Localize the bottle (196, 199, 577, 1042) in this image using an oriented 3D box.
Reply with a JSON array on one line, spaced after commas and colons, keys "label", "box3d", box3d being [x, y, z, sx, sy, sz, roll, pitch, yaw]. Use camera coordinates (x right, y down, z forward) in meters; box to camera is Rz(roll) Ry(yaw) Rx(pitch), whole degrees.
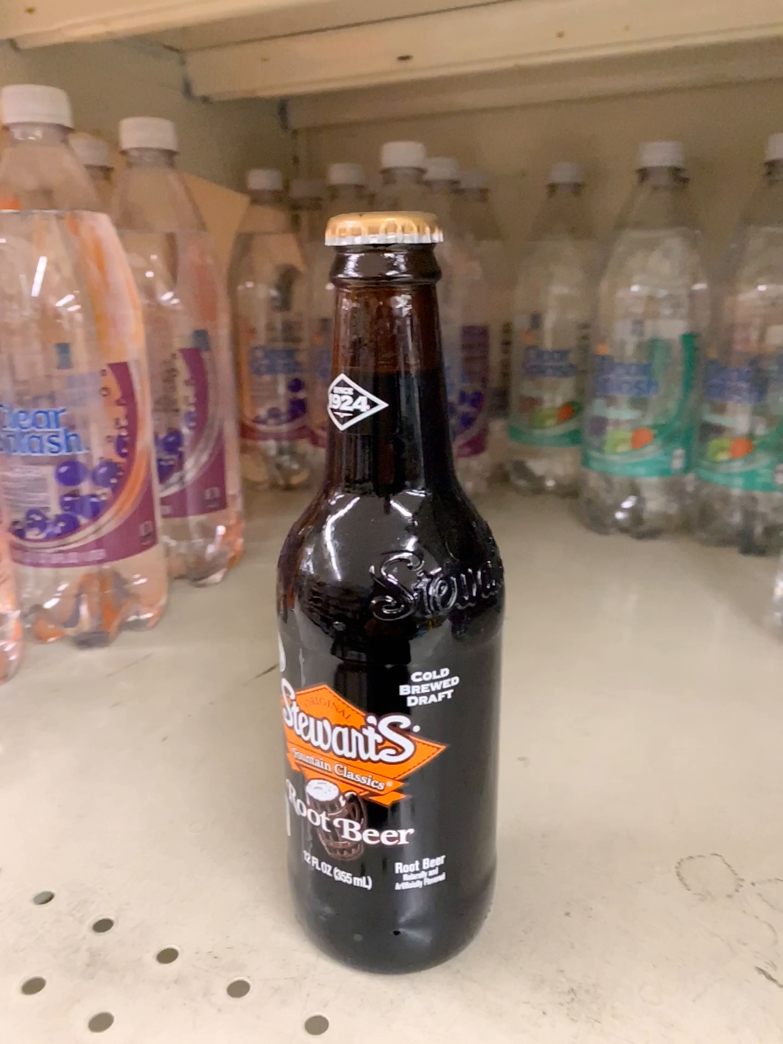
[{"label": "bottle", "box3d": [0.002, 0.025, 0.226, 0.070, 0.207, 0.060, 11, 21, 34]}]
